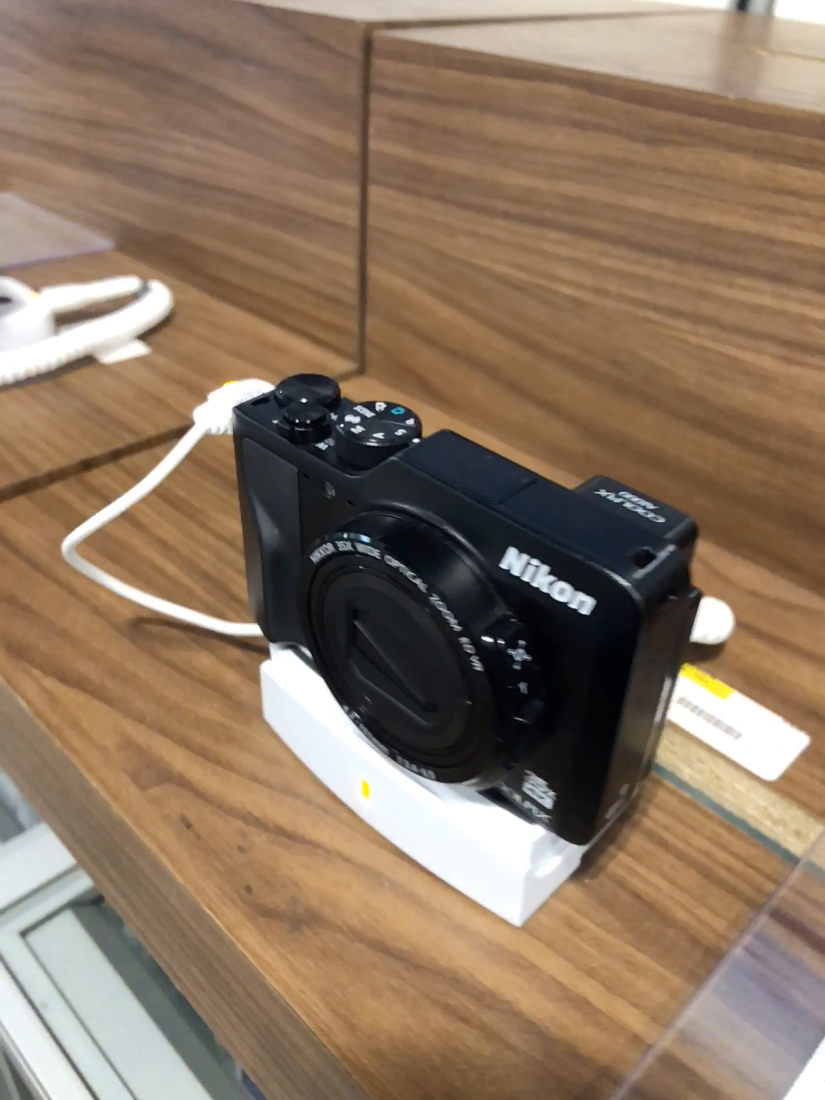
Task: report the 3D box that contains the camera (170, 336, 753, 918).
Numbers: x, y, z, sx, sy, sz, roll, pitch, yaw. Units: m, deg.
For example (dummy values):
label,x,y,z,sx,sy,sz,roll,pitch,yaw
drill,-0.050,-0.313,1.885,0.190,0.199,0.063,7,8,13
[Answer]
label,x,y,z,sx,sy,sz,roll,pitch,yaw
camera,0.002,0.008,0.212,0.050,0.070,0.121,-26,44,-37
